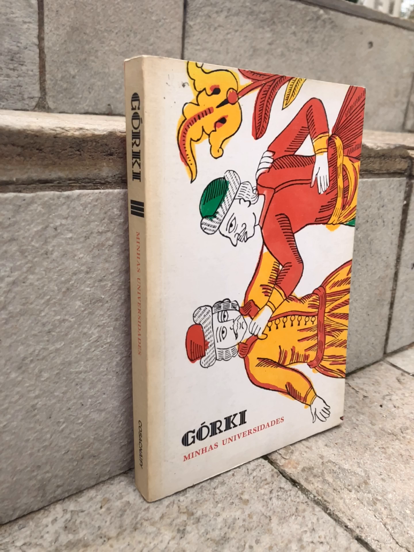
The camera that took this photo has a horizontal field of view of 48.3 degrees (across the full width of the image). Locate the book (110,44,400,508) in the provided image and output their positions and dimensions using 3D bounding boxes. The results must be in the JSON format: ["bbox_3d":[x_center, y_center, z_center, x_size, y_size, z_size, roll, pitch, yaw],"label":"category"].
[{"bbox_3d":[0.028,-0.001,0.231,0.142,0.189,0.030,-9,17,-31],"label":"book"}]
